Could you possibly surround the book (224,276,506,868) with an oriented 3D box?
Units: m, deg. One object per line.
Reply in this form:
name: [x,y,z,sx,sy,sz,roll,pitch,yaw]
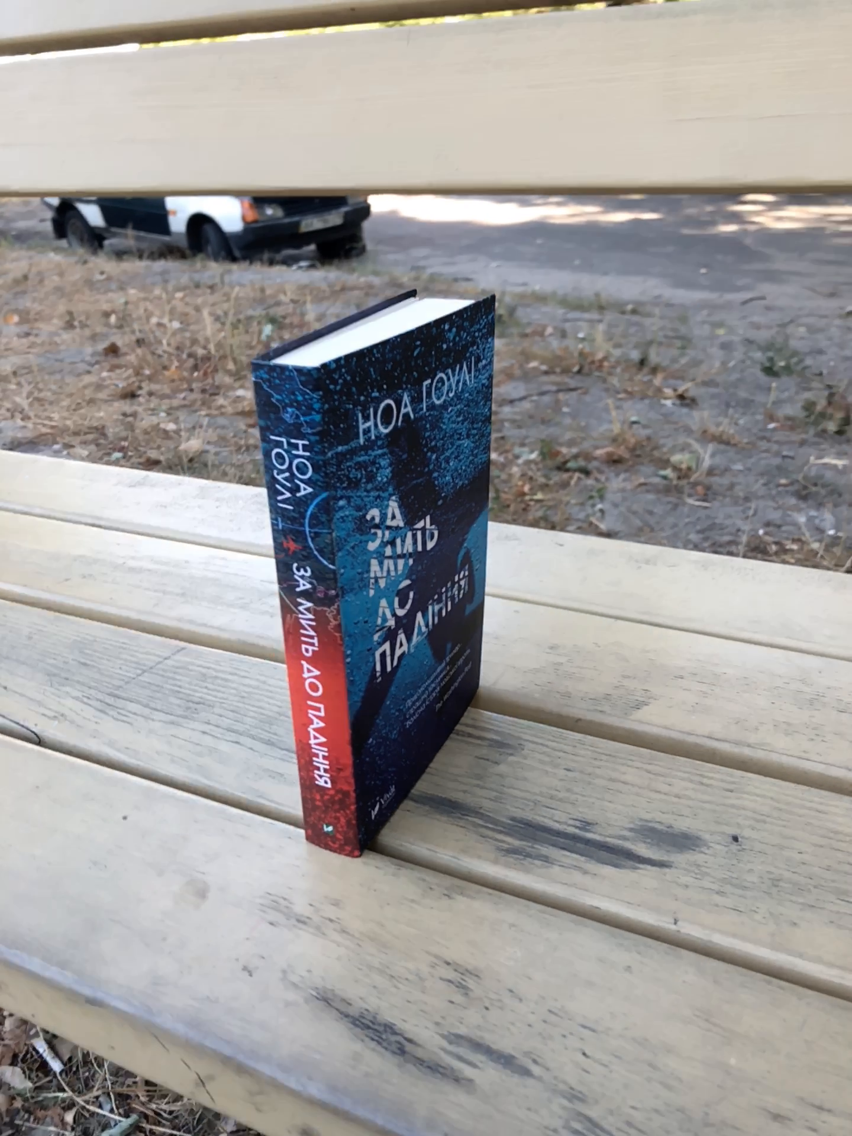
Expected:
book: [-0.013,-0.004,0.387,0.040,0.199,0.141,11,30,23]
